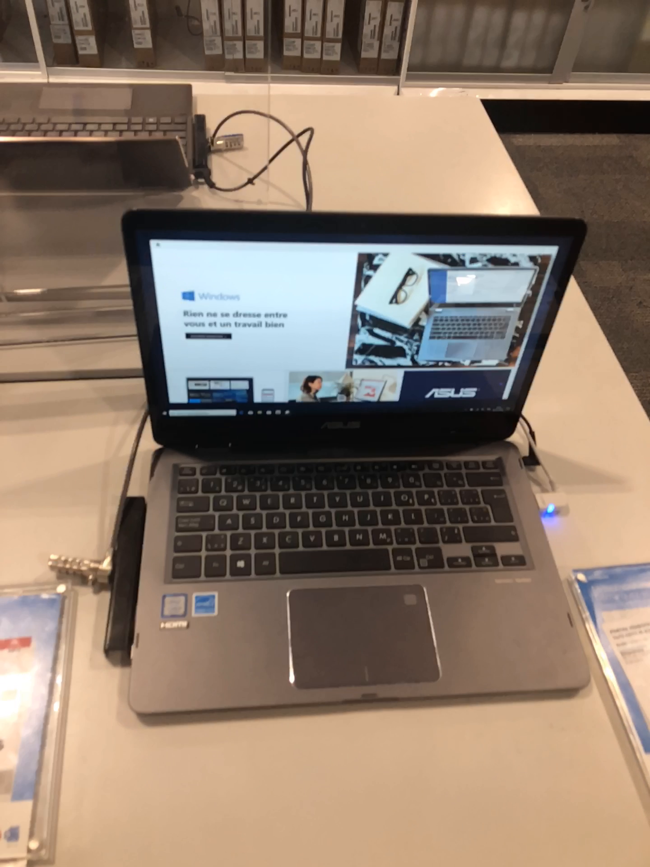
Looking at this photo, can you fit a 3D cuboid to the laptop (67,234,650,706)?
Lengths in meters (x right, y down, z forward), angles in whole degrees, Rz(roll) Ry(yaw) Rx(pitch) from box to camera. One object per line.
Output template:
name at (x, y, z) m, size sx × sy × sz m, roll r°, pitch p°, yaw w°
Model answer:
laptop at (0.026, 0.022, 0.467) m, size 0.302 × 0.217 × 0.225 m, roll -1°, pitch 49°, yaw -5°
